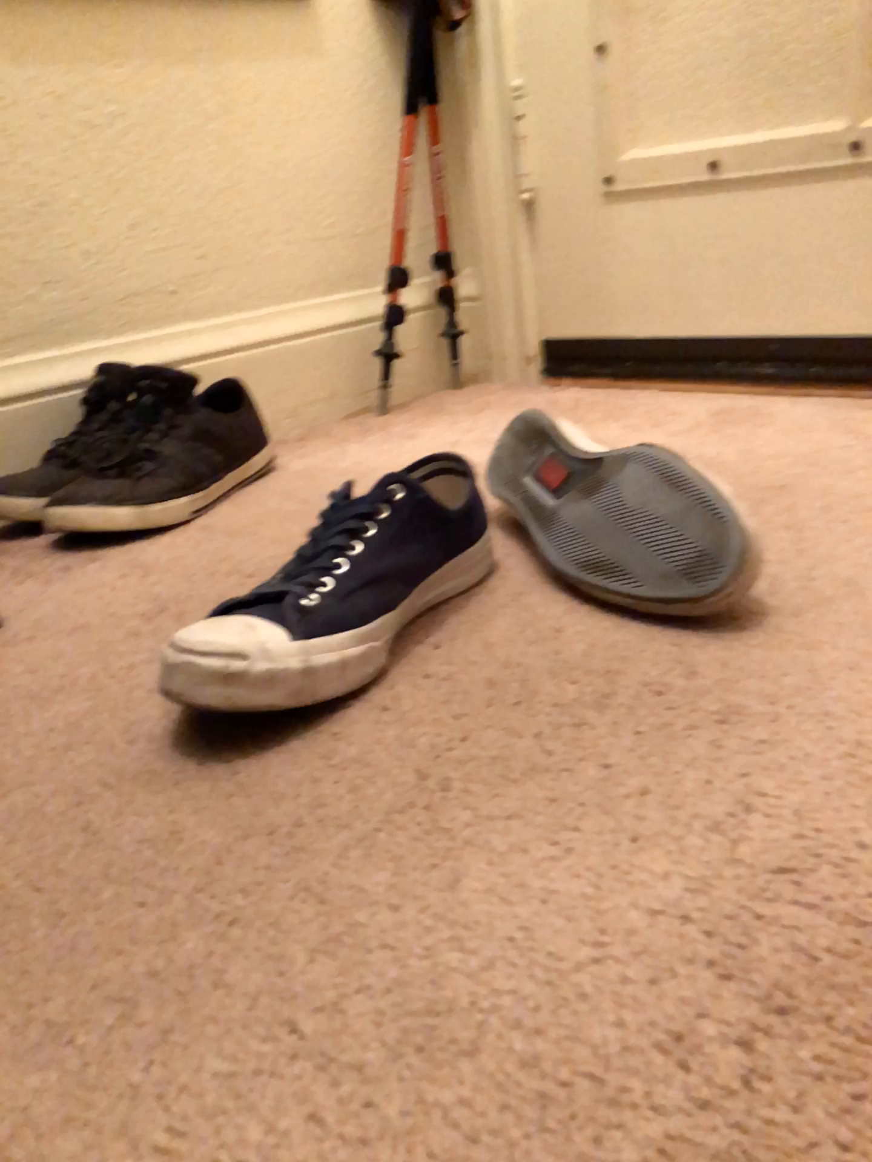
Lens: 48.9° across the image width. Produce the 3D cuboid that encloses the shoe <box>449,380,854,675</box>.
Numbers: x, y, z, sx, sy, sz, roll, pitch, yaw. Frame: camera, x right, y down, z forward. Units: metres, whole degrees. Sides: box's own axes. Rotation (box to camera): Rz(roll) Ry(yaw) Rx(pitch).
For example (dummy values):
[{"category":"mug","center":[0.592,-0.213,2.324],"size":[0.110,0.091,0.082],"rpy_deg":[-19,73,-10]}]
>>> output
[{"category":"shoe","center":[0.123,-0.052,0.660],"size":[0.099,0.104,0.297],"rpy_deg":[15,13,-25]}]

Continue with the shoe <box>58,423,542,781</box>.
[{"category":"shoe","center":[-0.058,-0.010,0.577],"size":[0.116,0.099,0.287],"rpy_deg":[8,26,33]}]

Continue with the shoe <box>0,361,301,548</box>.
[{"category":"shoe","center":[-0.242,-0.128,0.882],"size":[0.106,0.099,0.297],"rpy_deg":[2,22,18]}]
